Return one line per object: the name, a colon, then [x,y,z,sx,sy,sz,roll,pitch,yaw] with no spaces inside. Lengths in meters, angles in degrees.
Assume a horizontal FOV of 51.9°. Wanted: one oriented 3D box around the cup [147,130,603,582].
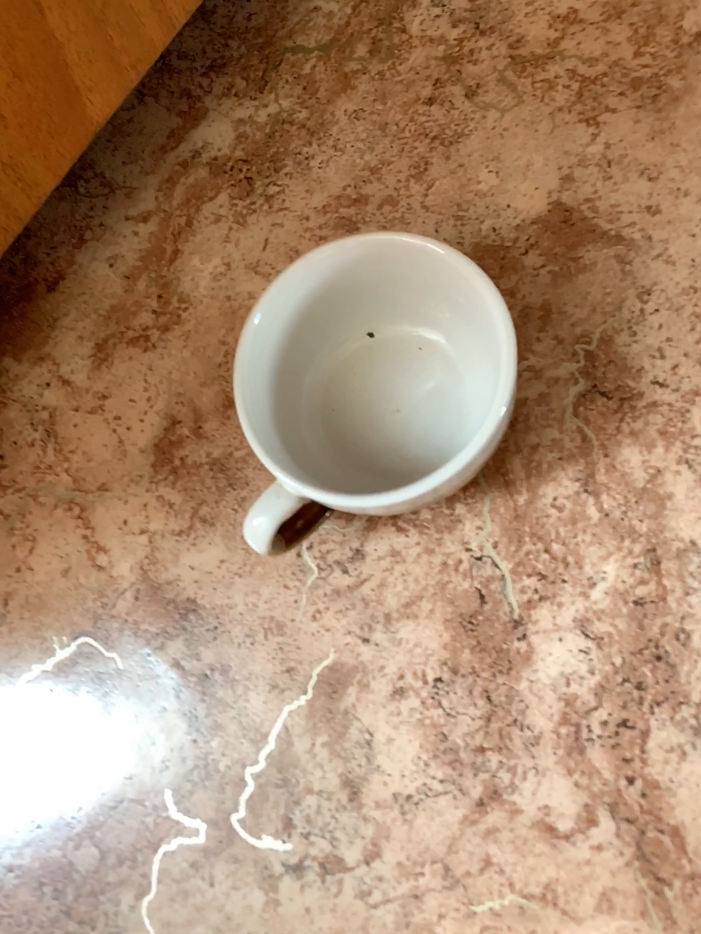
cup: [0.010,-0.035,0.254,0.090,0.060,0.115,42,89,17]
